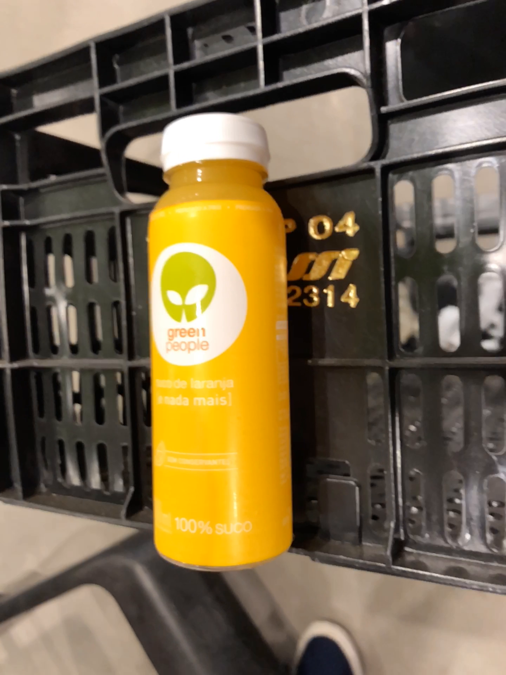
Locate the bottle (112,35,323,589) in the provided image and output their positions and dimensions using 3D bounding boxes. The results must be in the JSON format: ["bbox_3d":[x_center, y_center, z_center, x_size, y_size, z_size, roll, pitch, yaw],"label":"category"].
[{"bbox_3d":[-0.013,-0.008,0.222,0.060,0.050,0.180,-2,89,29],"label":"bottle"}]
